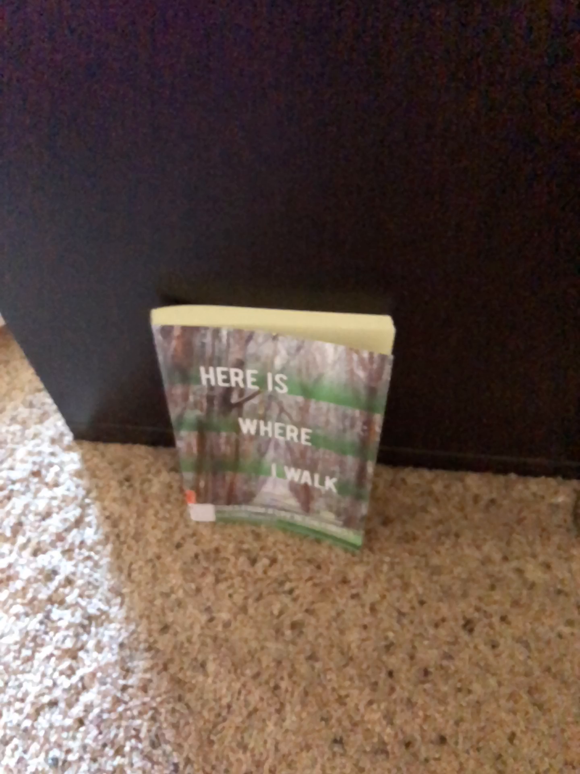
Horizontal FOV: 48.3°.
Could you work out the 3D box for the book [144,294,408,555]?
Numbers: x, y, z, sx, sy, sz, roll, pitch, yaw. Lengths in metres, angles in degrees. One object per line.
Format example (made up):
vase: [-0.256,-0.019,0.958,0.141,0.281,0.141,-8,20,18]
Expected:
book: [-0.009,0.038,0.444,0.146,0.212,0.037,3,44,2]
